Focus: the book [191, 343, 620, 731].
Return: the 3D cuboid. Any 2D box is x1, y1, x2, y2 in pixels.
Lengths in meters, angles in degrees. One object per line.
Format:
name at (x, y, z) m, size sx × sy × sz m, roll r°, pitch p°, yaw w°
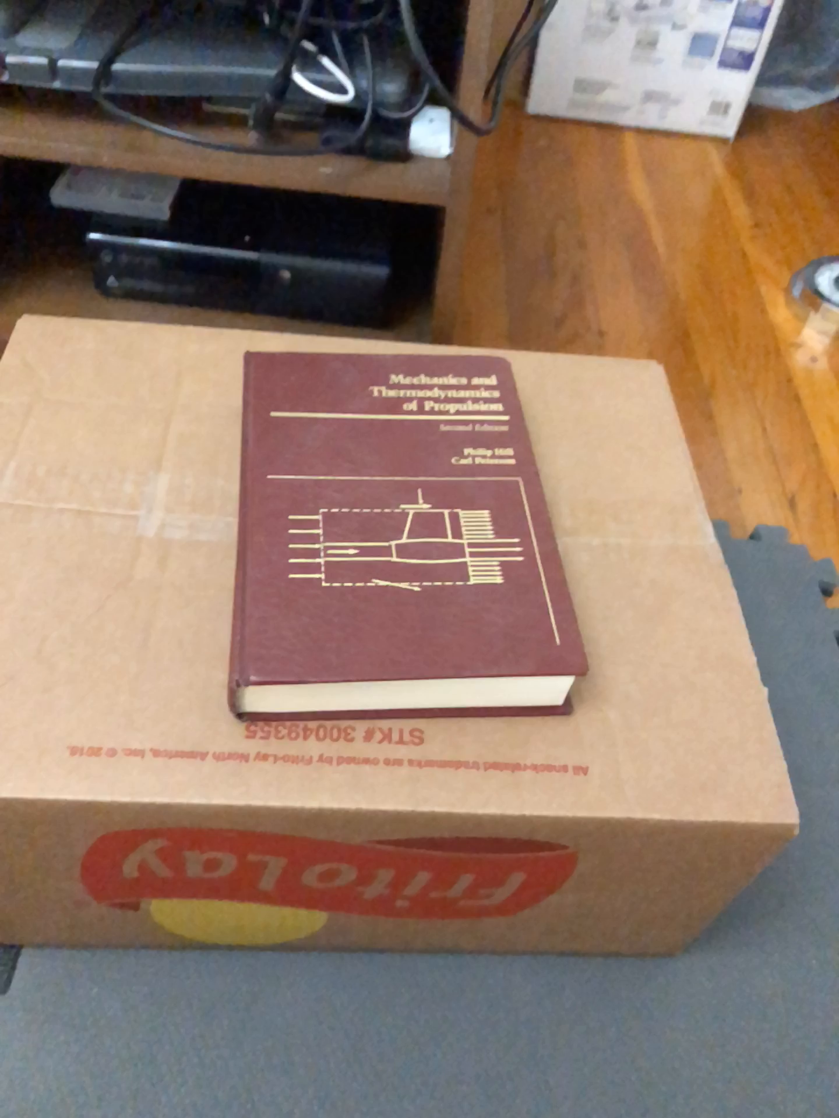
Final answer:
book at (-0.014, -0.025, 0.502) m, size 0.190 × 0.040 × 0.241 m, roll 0°, pitch 49°, yaw -7°
